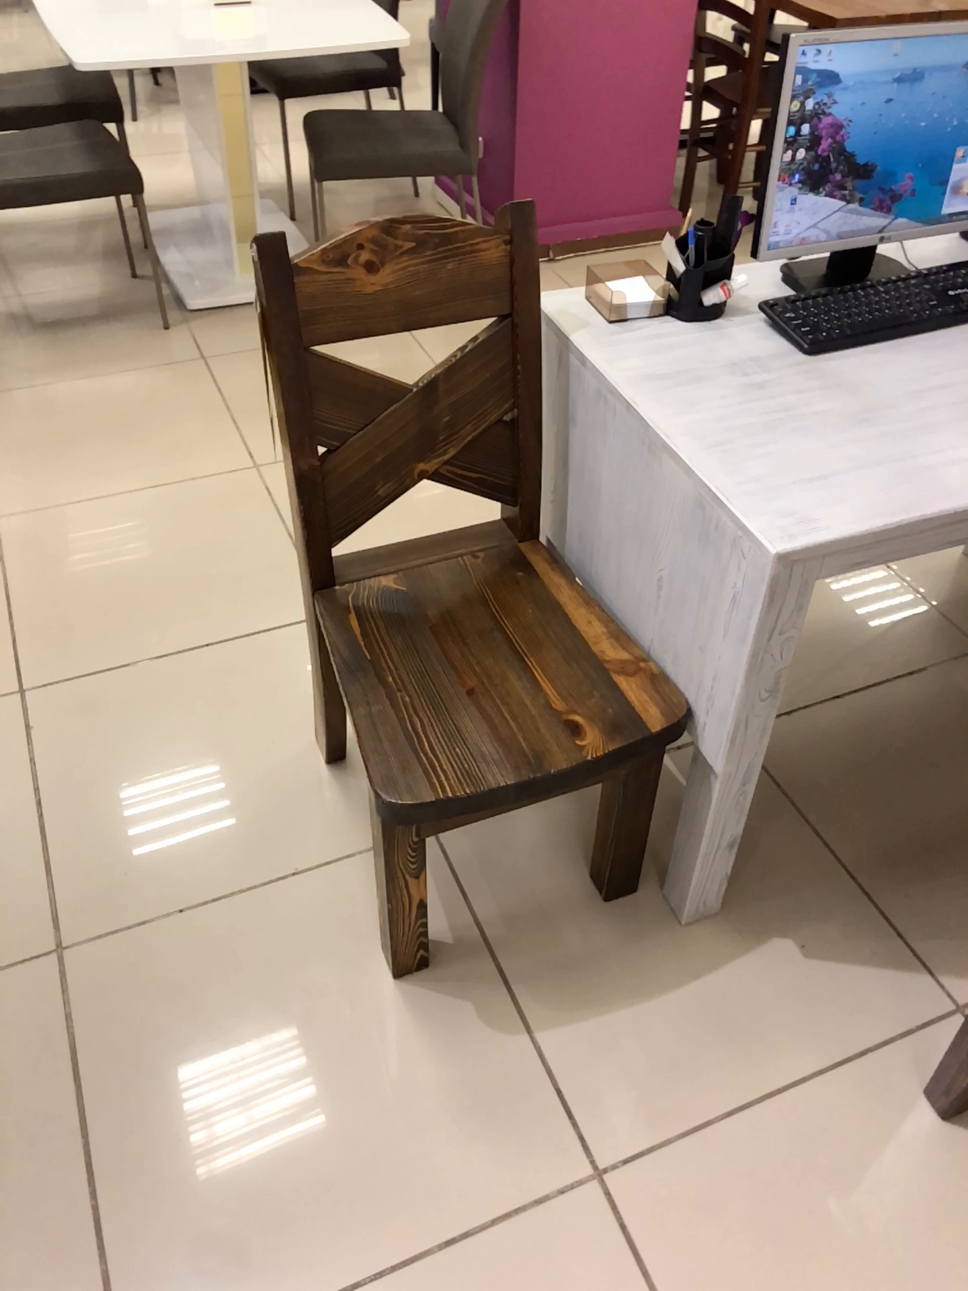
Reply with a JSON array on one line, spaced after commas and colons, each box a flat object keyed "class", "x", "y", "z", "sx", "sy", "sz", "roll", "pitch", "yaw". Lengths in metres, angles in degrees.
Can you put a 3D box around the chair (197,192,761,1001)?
[{"class": "chair", "x": -0.047, "y": -0.057, "z": 1.500, "sx": 0.451, "sy": 0.895, "sz": 0.572, "roll": -15, "pitch": 44, "yaw": -18}]
